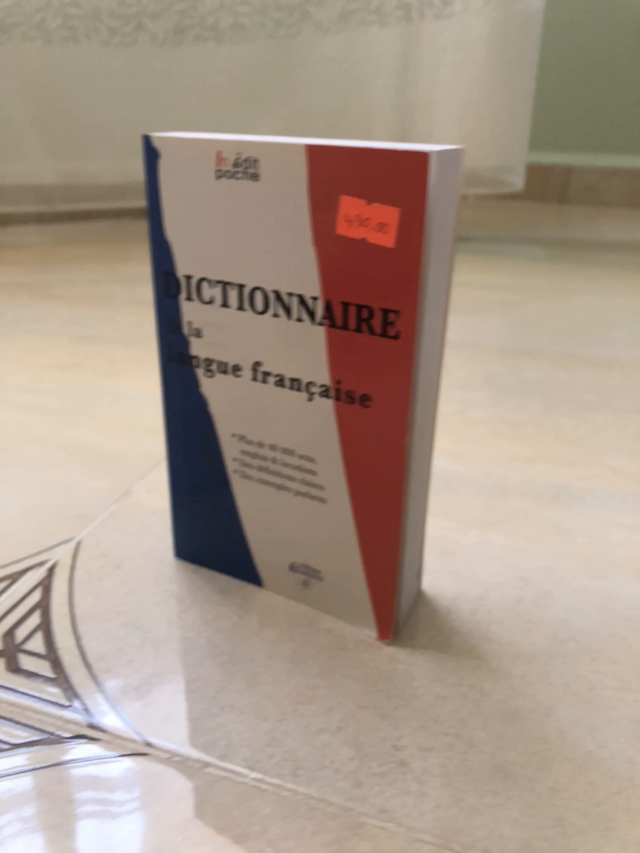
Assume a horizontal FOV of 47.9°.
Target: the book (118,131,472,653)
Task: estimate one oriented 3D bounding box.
[{"bbox_3d":[-0.013,-0.015,0.282,0.121,0.182,0.034,15,28,27],"label":"book"}]
